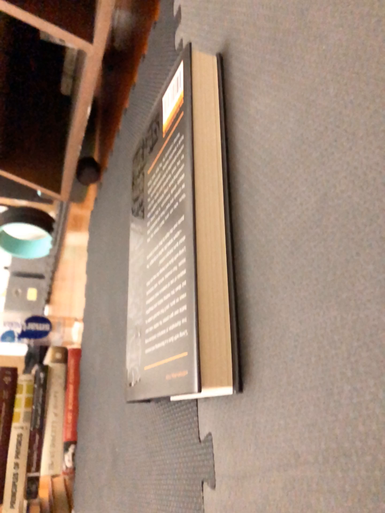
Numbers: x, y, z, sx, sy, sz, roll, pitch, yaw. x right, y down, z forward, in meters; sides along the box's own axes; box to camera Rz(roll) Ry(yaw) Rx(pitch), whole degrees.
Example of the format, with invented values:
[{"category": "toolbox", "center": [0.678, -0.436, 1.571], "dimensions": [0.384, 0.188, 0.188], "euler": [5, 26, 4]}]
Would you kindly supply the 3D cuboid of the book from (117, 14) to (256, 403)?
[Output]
[{"category": "book", "center": [-0.015, -0.021, 0.342], "dimensions": [0.170, 0.040, 0.260], "euler": [139, 134, -62]}]
